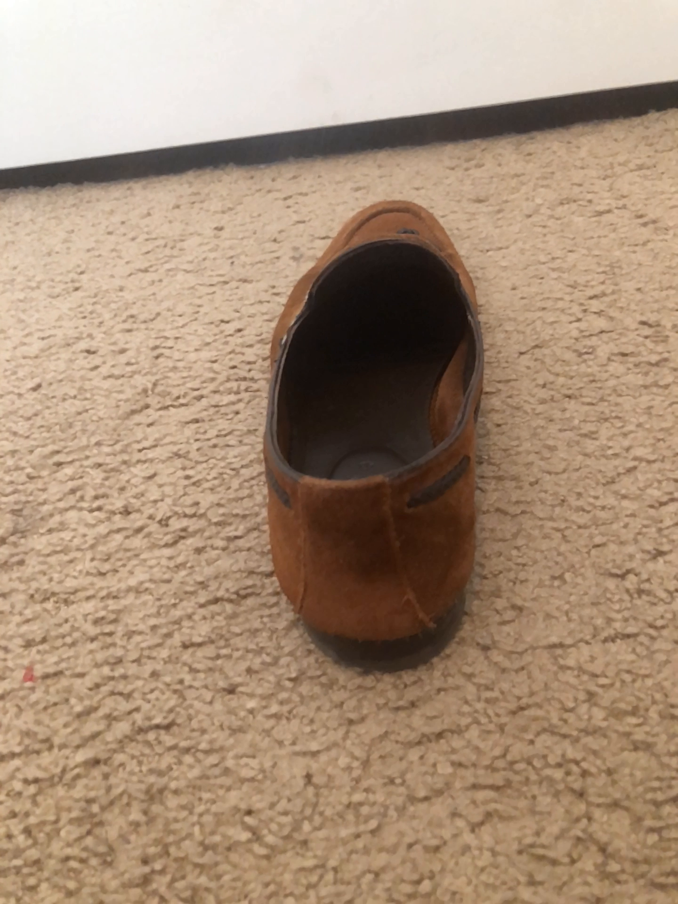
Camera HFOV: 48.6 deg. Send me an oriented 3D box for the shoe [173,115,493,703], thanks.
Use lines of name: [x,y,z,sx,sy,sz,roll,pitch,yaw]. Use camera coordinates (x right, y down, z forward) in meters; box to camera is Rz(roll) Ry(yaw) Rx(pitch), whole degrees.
shoe: [0.013,-0.046,0.349,0.090,0.100,0.294,-4,43,8]
